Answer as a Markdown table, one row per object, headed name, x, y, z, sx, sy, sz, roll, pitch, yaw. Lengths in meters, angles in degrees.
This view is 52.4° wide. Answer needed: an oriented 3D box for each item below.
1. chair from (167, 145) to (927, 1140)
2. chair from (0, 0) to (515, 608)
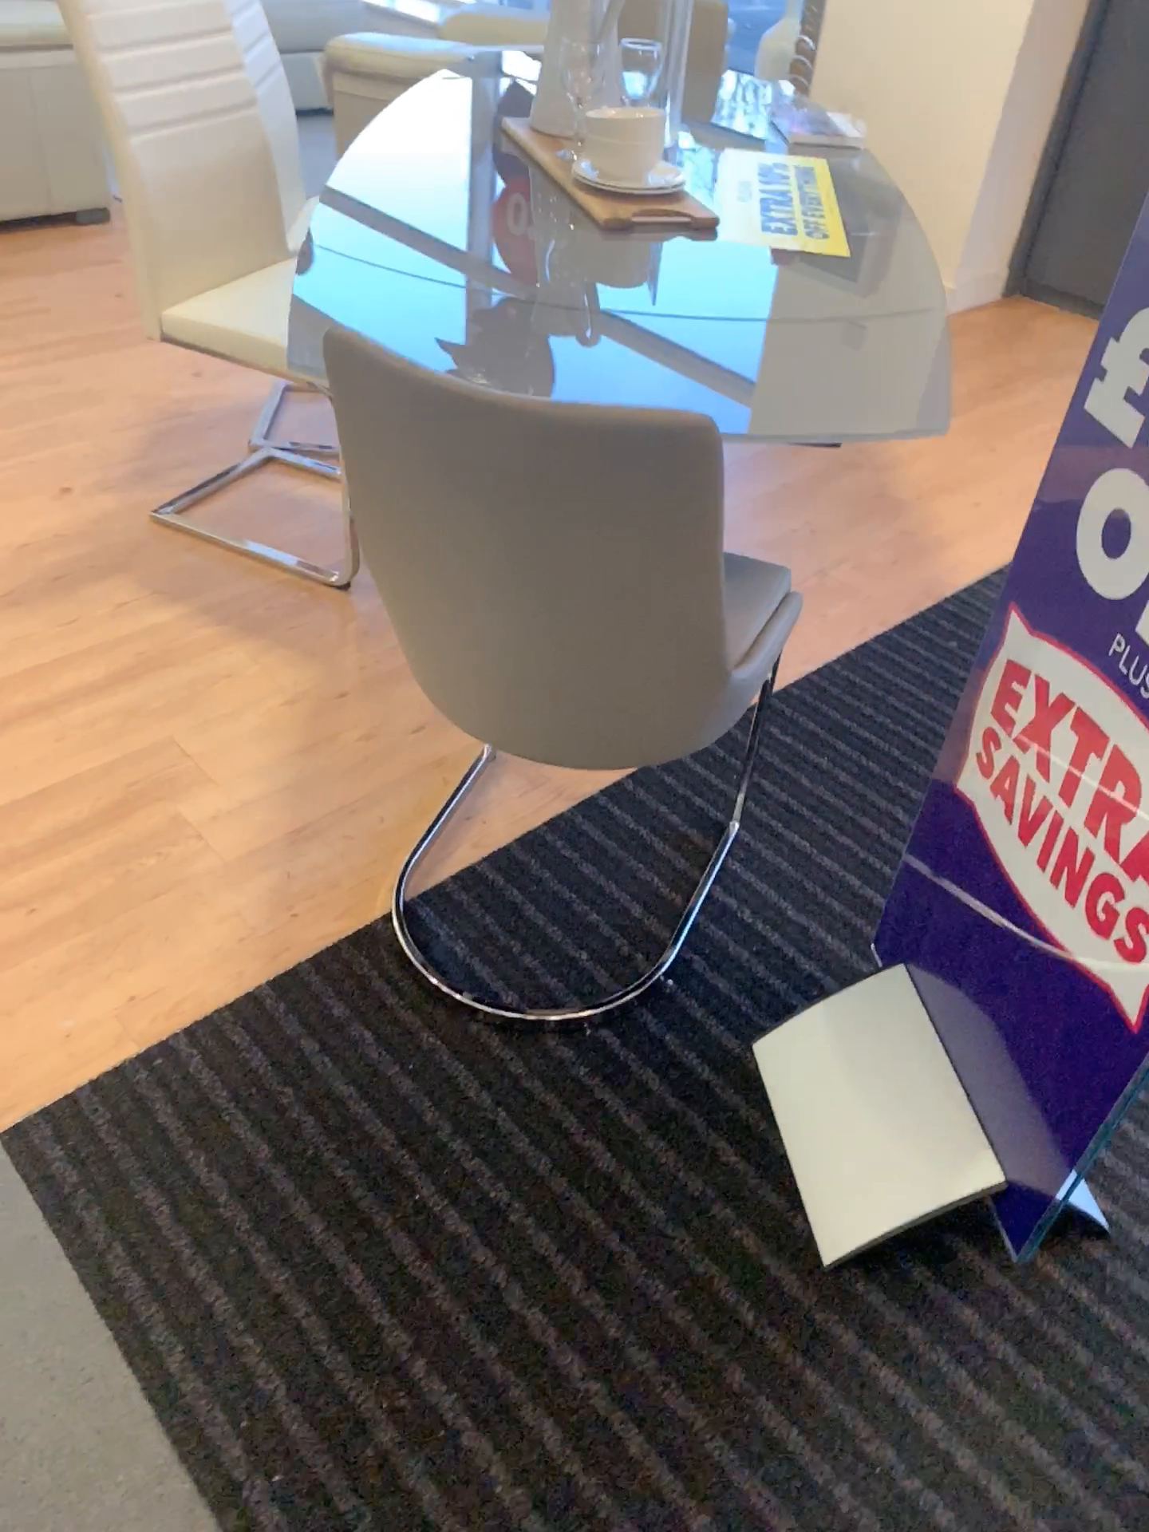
| name | x | y | z | sx | sy | sz | roll | pitch | yaw |
| --- | --- | --- | --- | --- | --- | --- | --- | --- | --- |
| chair | -0.004 | -0.166 | 1.452 | 0.531 | 0.901 | 0.686 | 18 | 41 | 14 |
| chair | -0.532 | -0.899 | 2.101 | 0.621 | 0.931 | 0.544 | 21 | 42 | 18 |
